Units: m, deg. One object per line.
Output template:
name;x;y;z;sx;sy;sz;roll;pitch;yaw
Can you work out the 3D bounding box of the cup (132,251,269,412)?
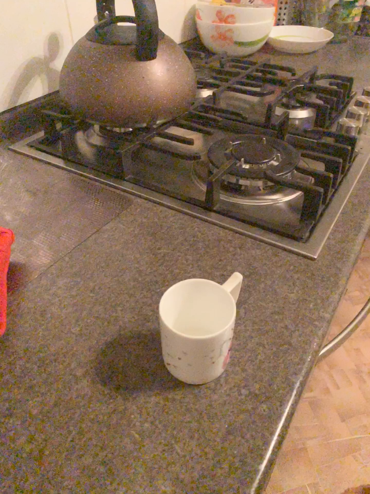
cup;0.014;0.065;0.310;0.060;0.069;0.090;29;48;31
